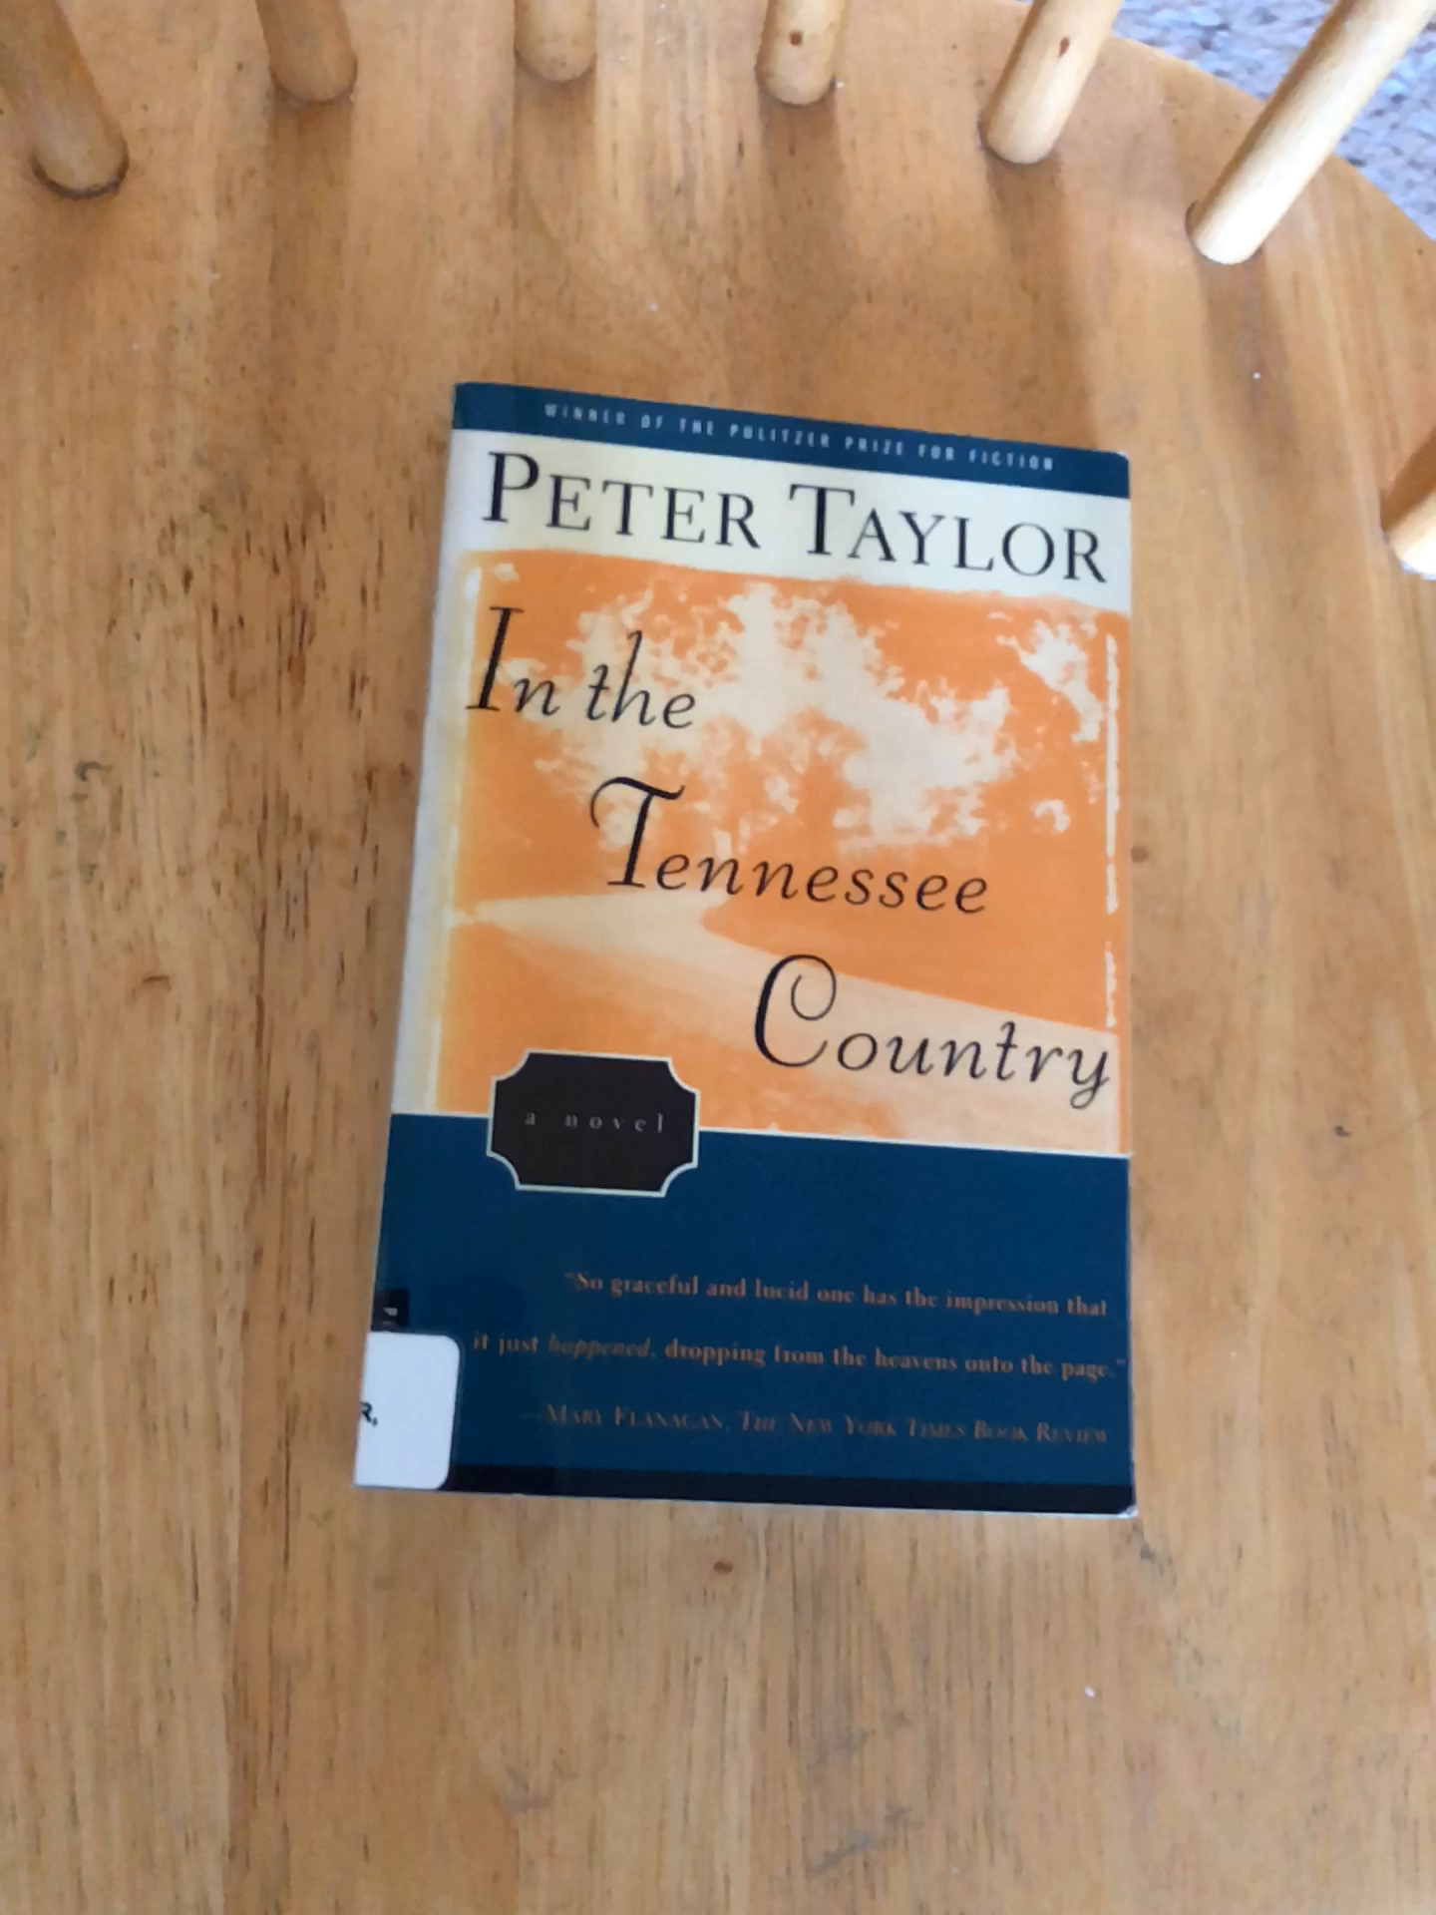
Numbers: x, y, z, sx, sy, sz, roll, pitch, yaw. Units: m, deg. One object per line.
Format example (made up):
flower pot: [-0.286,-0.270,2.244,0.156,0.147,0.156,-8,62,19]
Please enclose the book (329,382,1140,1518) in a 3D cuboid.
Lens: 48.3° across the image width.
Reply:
book: [0.009,-0.004,0.301,0.136,0.025,0.200,5,77,-5]
